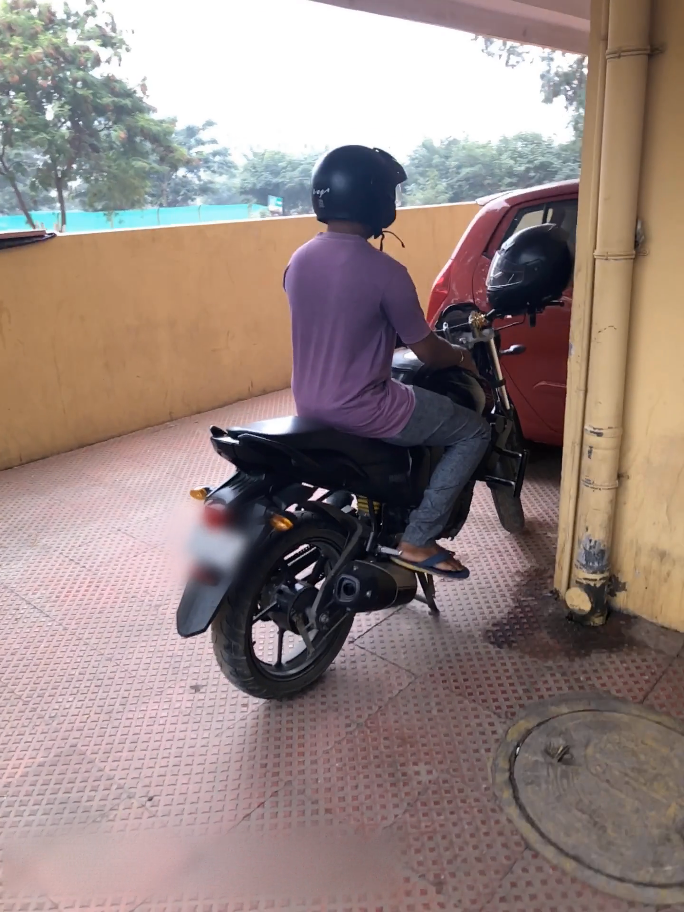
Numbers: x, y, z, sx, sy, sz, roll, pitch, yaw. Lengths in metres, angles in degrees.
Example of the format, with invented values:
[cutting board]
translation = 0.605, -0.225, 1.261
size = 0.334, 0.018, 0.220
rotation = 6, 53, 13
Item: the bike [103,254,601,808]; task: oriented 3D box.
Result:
[bike]
translation = 0.222, -0.018, 2.744
size = 0.853, 1.156, 1.912
rotation = 10, 24, 32
